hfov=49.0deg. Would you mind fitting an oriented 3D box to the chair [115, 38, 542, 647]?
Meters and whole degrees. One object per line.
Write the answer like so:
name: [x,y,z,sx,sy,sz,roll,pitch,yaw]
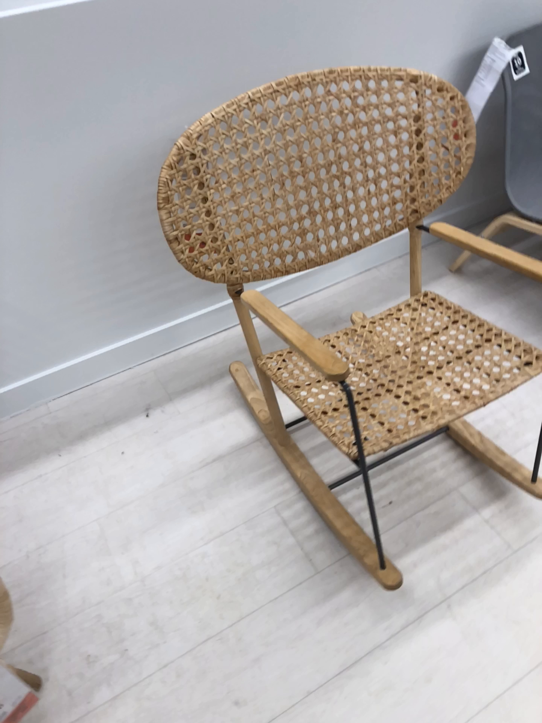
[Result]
chair: [0.262,-0.096,1.336,0.831,0.787,0.852,-22,50,-18]
